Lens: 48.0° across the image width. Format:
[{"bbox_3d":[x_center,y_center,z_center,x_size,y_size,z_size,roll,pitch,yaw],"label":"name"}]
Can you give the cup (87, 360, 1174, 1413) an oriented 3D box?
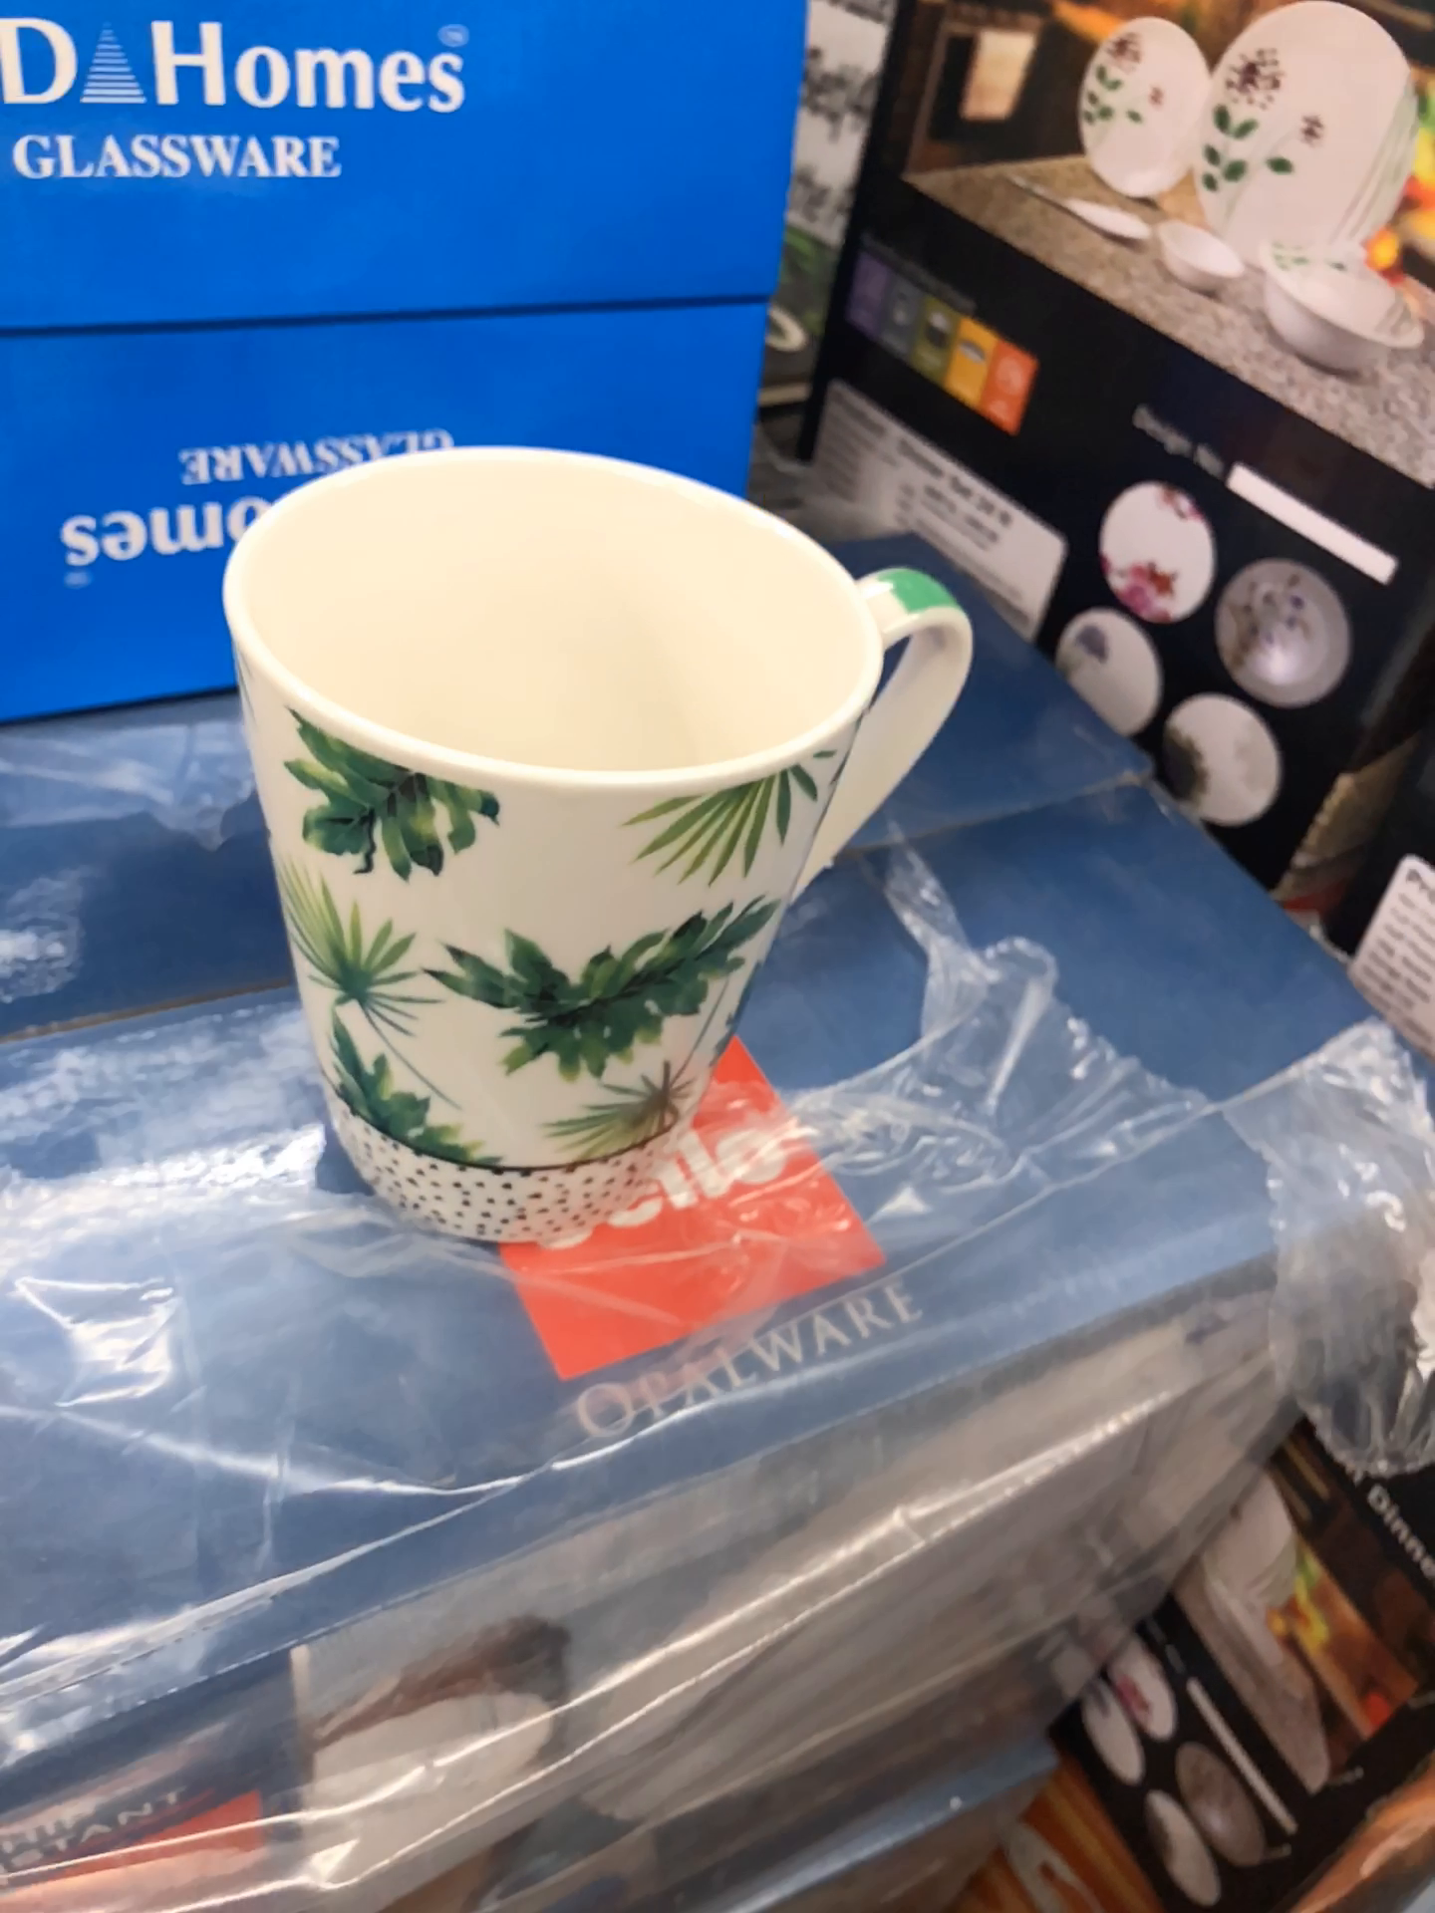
[{"bbox_3d":[-0.015,-0.017,0.246,0.121,0.099,0.080,-25,55,-33],"label":"cup"}]
